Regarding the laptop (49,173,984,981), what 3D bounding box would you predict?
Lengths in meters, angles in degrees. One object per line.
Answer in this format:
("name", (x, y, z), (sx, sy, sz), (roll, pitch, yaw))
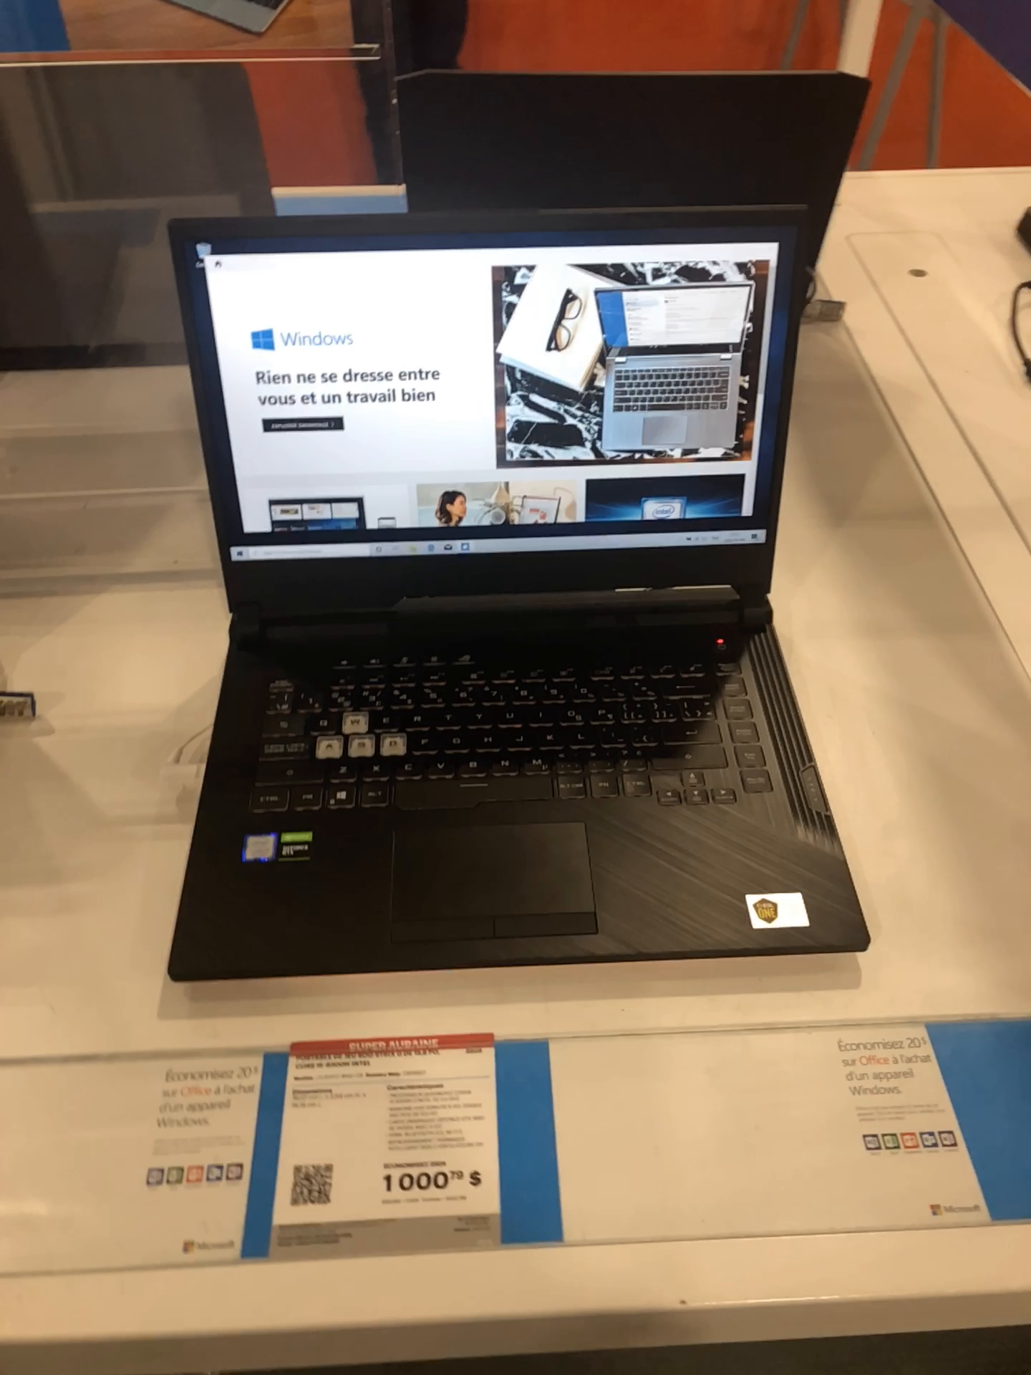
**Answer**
("laptop", (-0.002, -0.074, 0.629), (0.363, 0.236, 0.346), (-3, 48, -1))
